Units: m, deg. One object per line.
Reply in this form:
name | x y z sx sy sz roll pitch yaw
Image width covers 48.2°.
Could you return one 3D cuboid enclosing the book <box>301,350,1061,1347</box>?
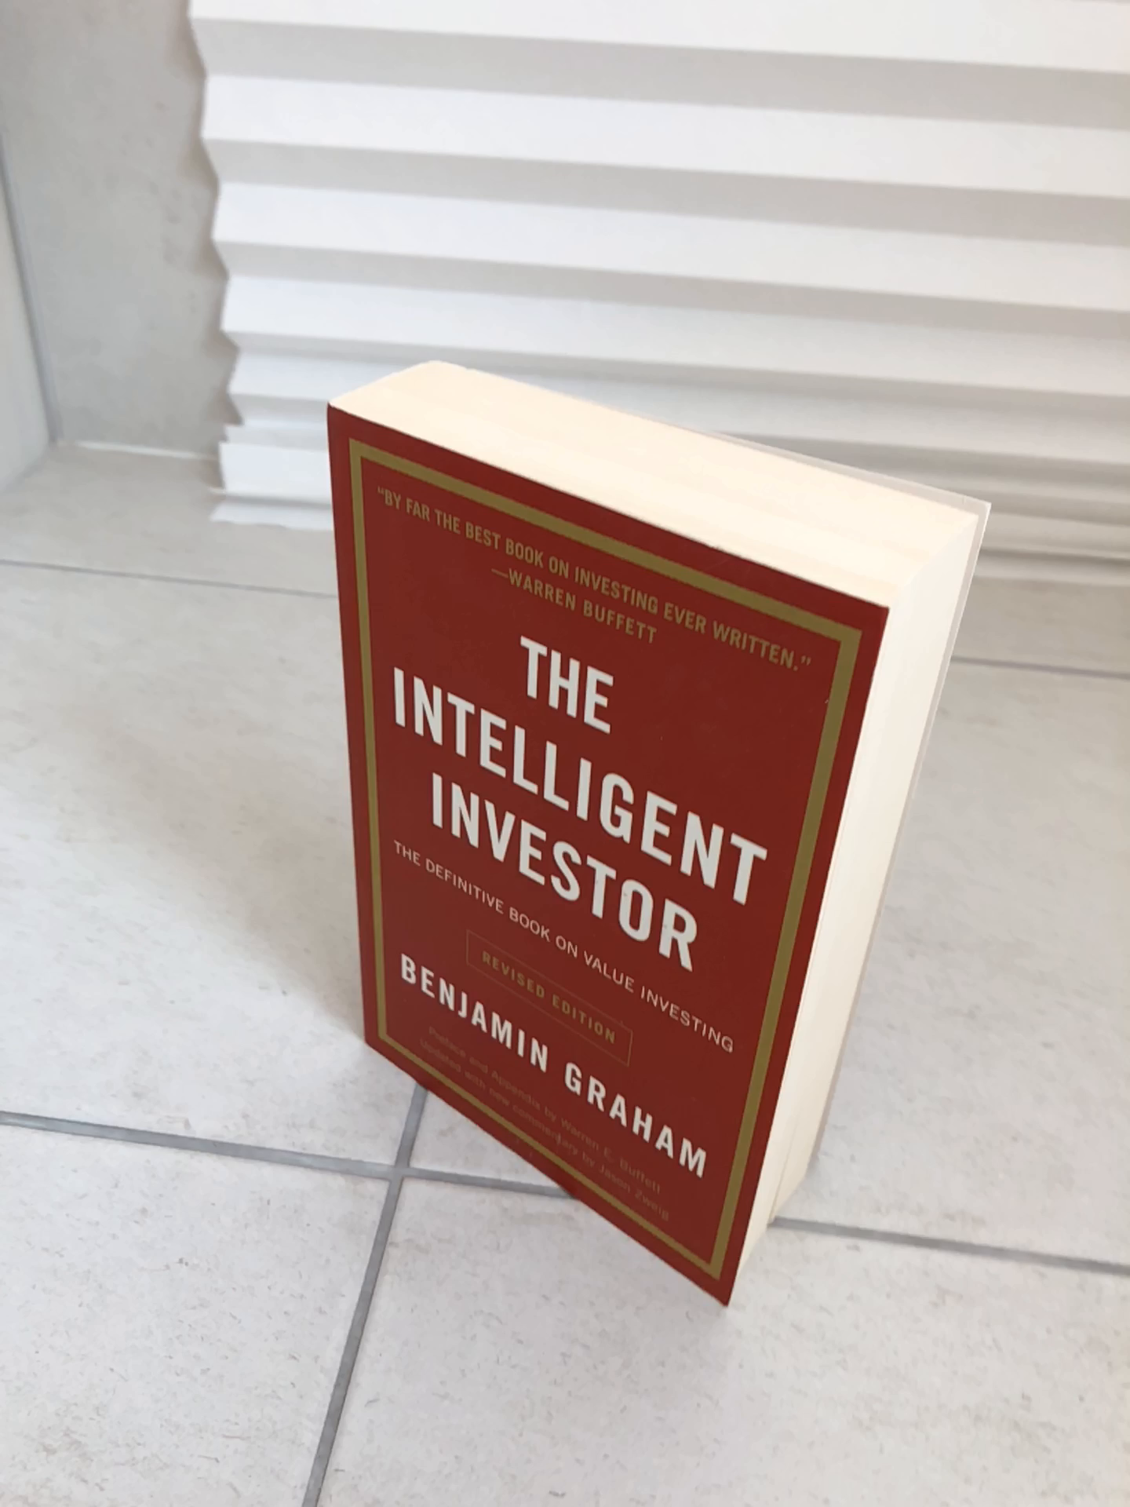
book | 0.014 0.025 0.316 0.149 0.206 0.057 26 41 29
